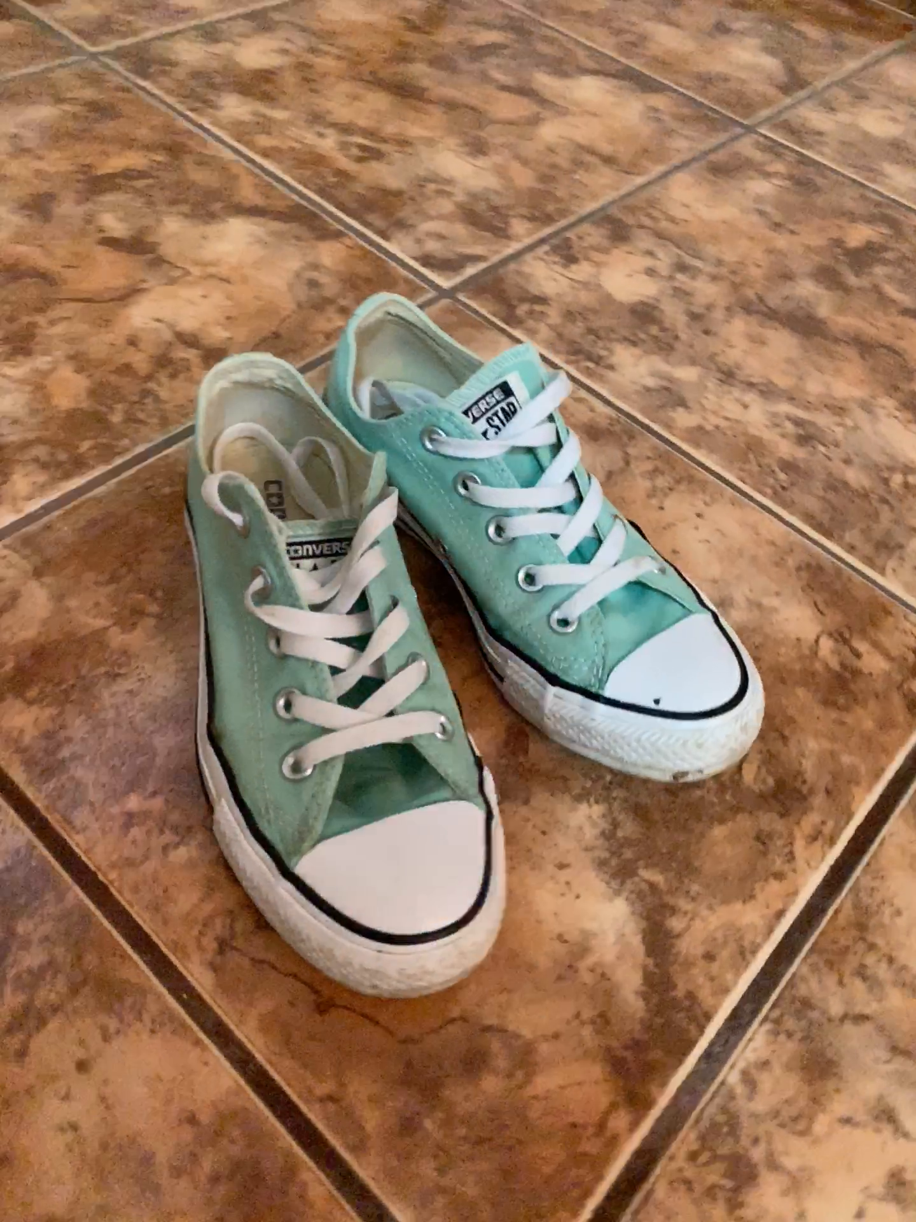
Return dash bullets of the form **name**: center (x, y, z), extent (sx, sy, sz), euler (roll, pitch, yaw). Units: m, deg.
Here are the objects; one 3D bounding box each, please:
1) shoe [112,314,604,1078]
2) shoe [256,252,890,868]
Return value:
- **shoe**: center (-0.051, 0.011, 0.331), extent (0.098, 0.094, 0.244), euler (-10, 54, -16)
- **shoe**: center (0.027, -0.034, 0.376), extent (0.095, 0.084, 0.244), euler (-30, 61, -28)
